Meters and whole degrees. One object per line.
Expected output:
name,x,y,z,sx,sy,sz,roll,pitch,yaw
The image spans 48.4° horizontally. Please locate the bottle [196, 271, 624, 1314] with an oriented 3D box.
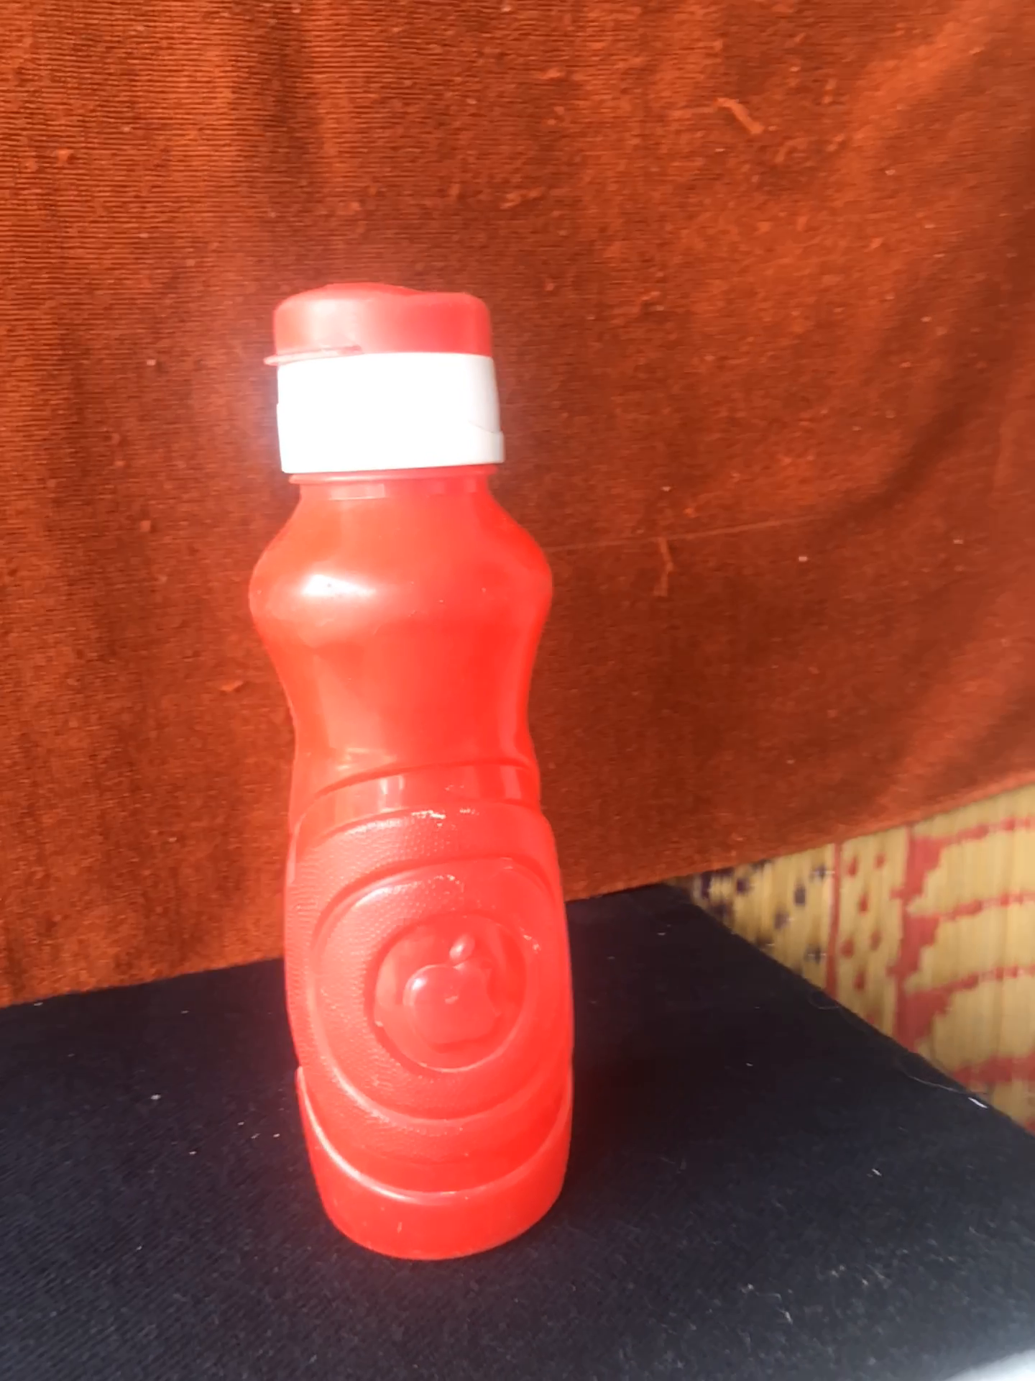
bottle,-0.025,0.021,0.273,0.080,0.219,0.070,-3,13,-11
